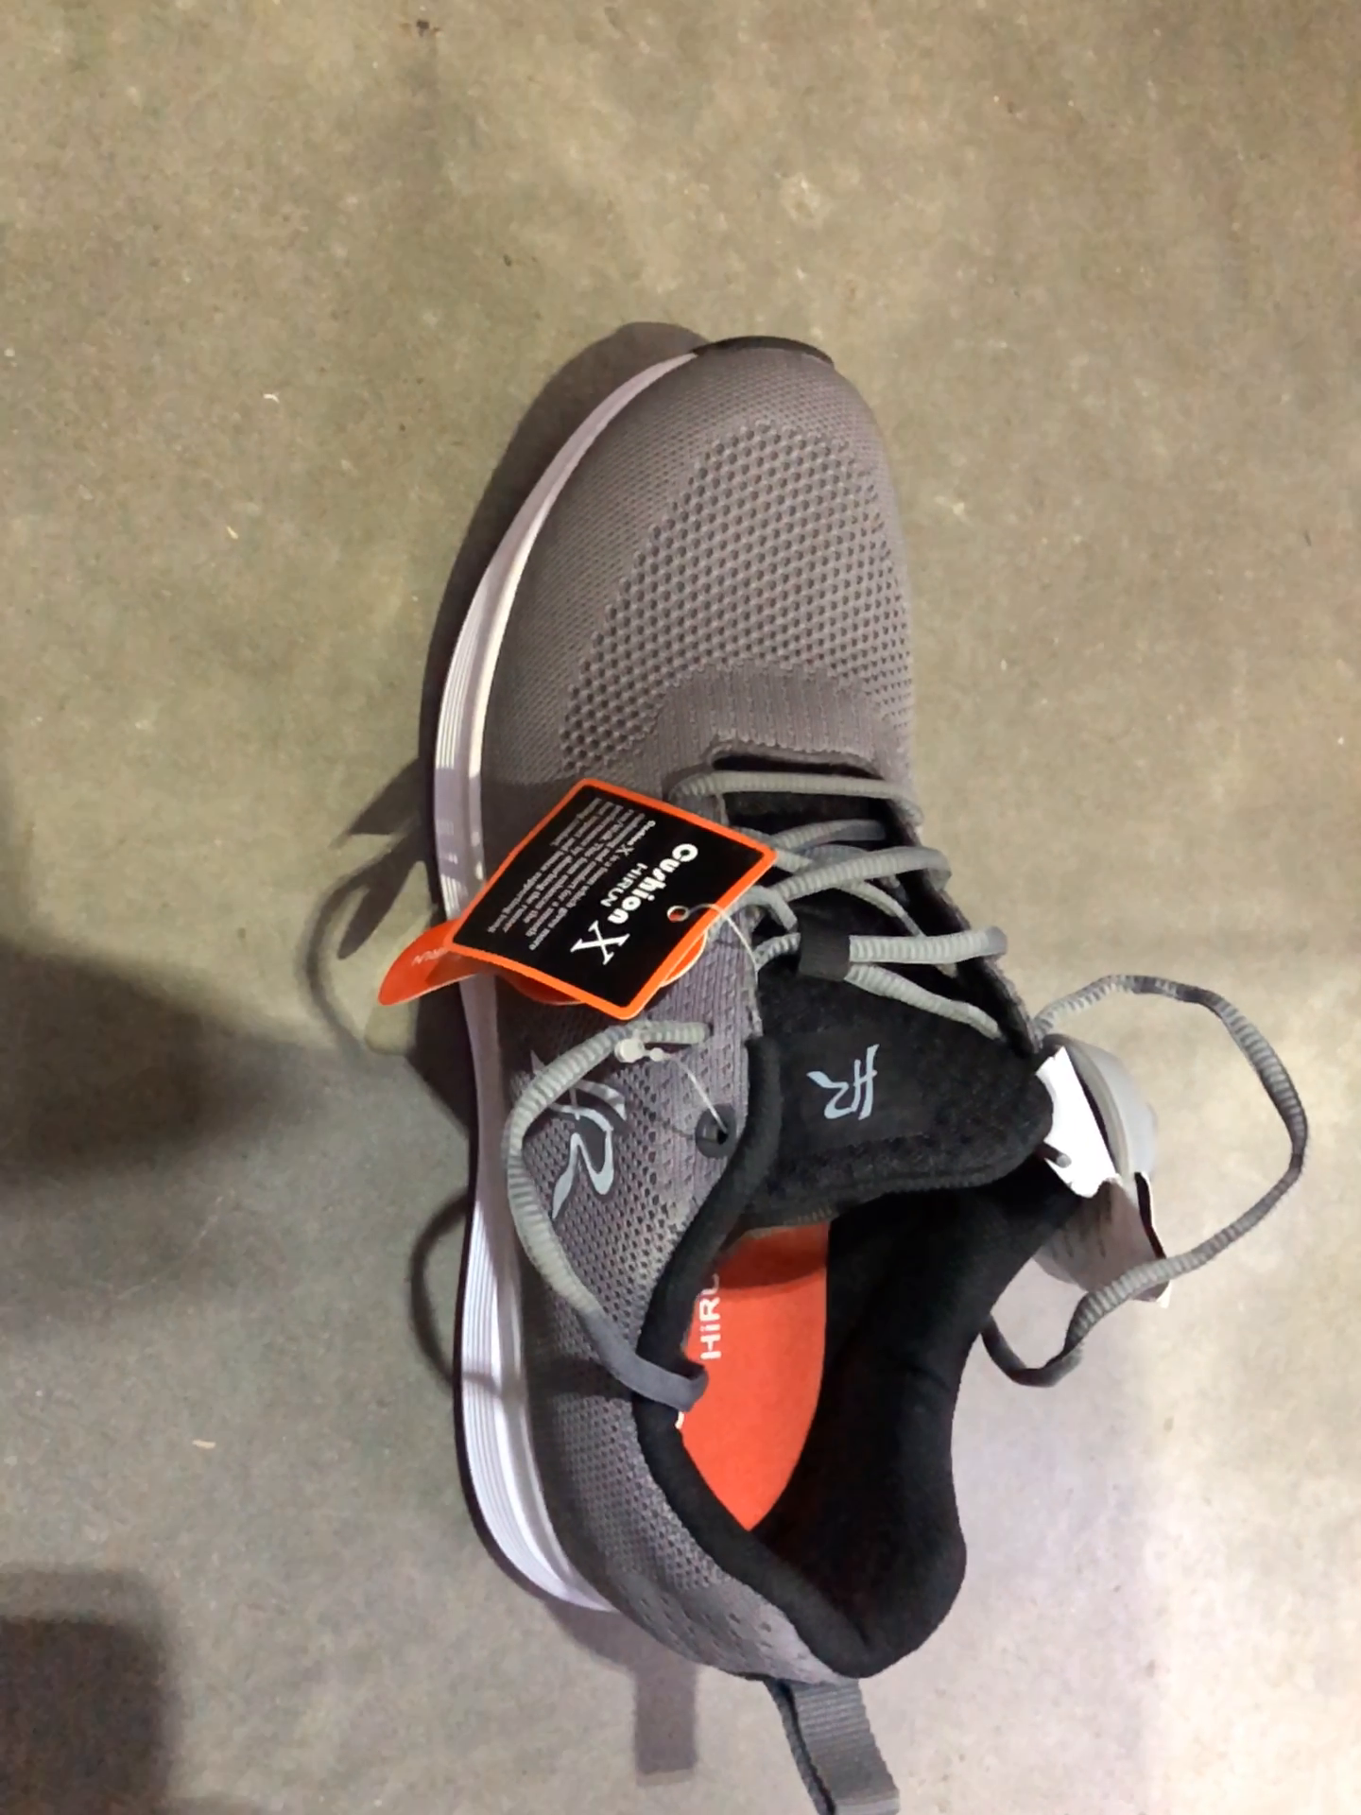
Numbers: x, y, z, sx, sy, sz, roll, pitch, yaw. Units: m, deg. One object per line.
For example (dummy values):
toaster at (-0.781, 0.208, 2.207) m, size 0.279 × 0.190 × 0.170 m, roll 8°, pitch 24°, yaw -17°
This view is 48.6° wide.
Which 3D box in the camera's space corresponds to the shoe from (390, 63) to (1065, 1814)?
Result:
shoe at (0.005, 0.009, 0.338) m, size 0.110 × 0.100 × 0.320 m, roll 0°, pitch 88°, yaw -29°
